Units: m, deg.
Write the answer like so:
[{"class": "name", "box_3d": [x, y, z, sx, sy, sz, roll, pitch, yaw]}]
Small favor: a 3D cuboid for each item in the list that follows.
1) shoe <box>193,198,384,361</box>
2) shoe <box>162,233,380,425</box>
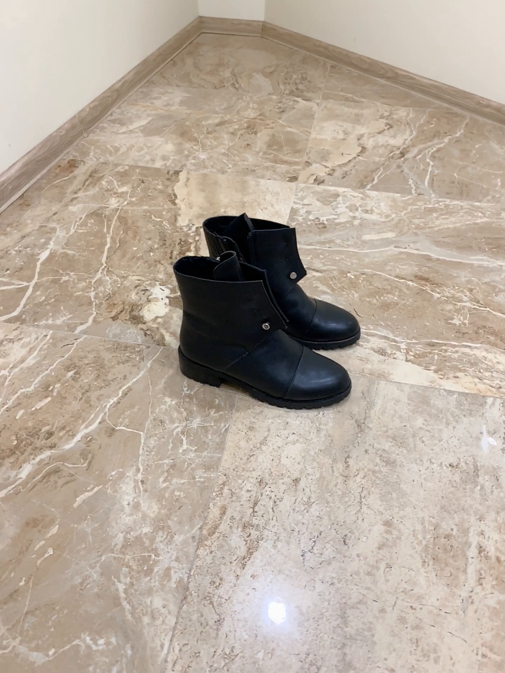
[{"class": "shoe", "box_3d": [0.048, -0.082, 0.774, 0.250, 0.199, 0.090, 7, 42, 5]}, {"class": "shoe", "box_3d": [0.019, -0.007, 0.687, 0.250, 0.199, 0.090, 11, 42, 6]}]
